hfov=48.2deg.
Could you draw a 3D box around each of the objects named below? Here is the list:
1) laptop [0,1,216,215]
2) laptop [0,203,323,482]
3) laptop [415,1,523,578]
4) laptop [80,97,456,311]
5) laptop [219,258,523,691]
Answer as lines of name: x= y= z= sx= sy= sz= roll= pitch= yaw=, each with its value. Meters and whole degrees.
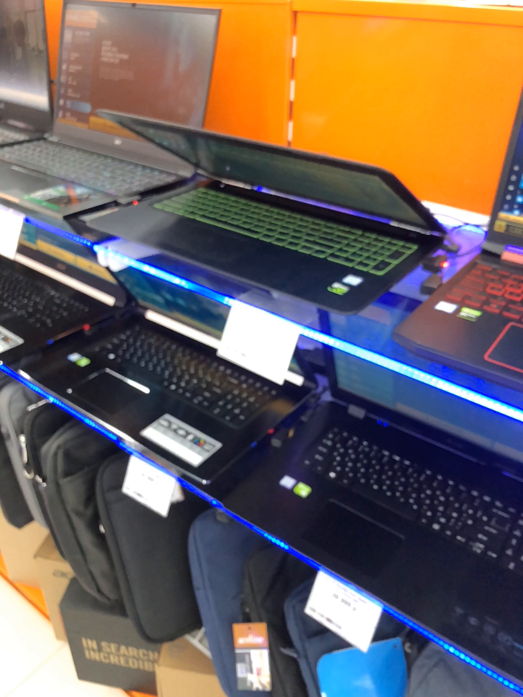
laptop: x=-0.300 y=-0.386 z=0.879 sx=0.340 sy=0.219 sz=0.304 roll=23 pitch=38 yaw=30
laptop: x=-0.158 y=-0.042 z=0.905 sx=0.412 sy=0.217 sz=0.263 roll=23 pitch=37 yaw=30
laptop: x=0.365 y=-0.108 z=0.440 sx=0.409 sy=0.245 sz=0.254 roll=20 pitch=36 yaw=27
laptop: x=0.001 y=-0.197 z=0.689 sx=0.370 sy=0.118 sz=0.227 roll=22 pitch=38 yaw=30
laptop: x=0.196 y=0.094 z=0.668 sx=0.397 sy=0.255 sz=0.275 roll=21 pitch=35 yaw=31
